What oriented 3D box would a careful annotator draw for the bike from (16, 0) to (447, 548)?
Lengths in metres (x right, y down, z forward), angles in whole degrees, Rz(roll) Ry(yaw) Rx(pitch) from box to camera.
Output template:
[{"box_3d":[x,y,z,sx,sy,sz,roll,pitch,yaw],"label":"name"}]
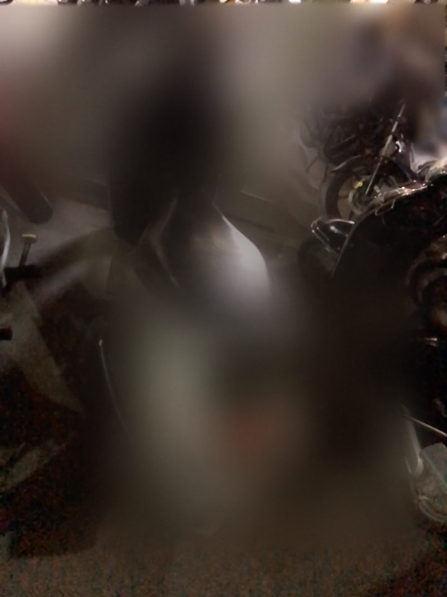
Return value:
[{"box_3d":[-0.181,-0.162,1.583,0.603,1.094,1.386,12,41,-27],"label":"bike"}]
